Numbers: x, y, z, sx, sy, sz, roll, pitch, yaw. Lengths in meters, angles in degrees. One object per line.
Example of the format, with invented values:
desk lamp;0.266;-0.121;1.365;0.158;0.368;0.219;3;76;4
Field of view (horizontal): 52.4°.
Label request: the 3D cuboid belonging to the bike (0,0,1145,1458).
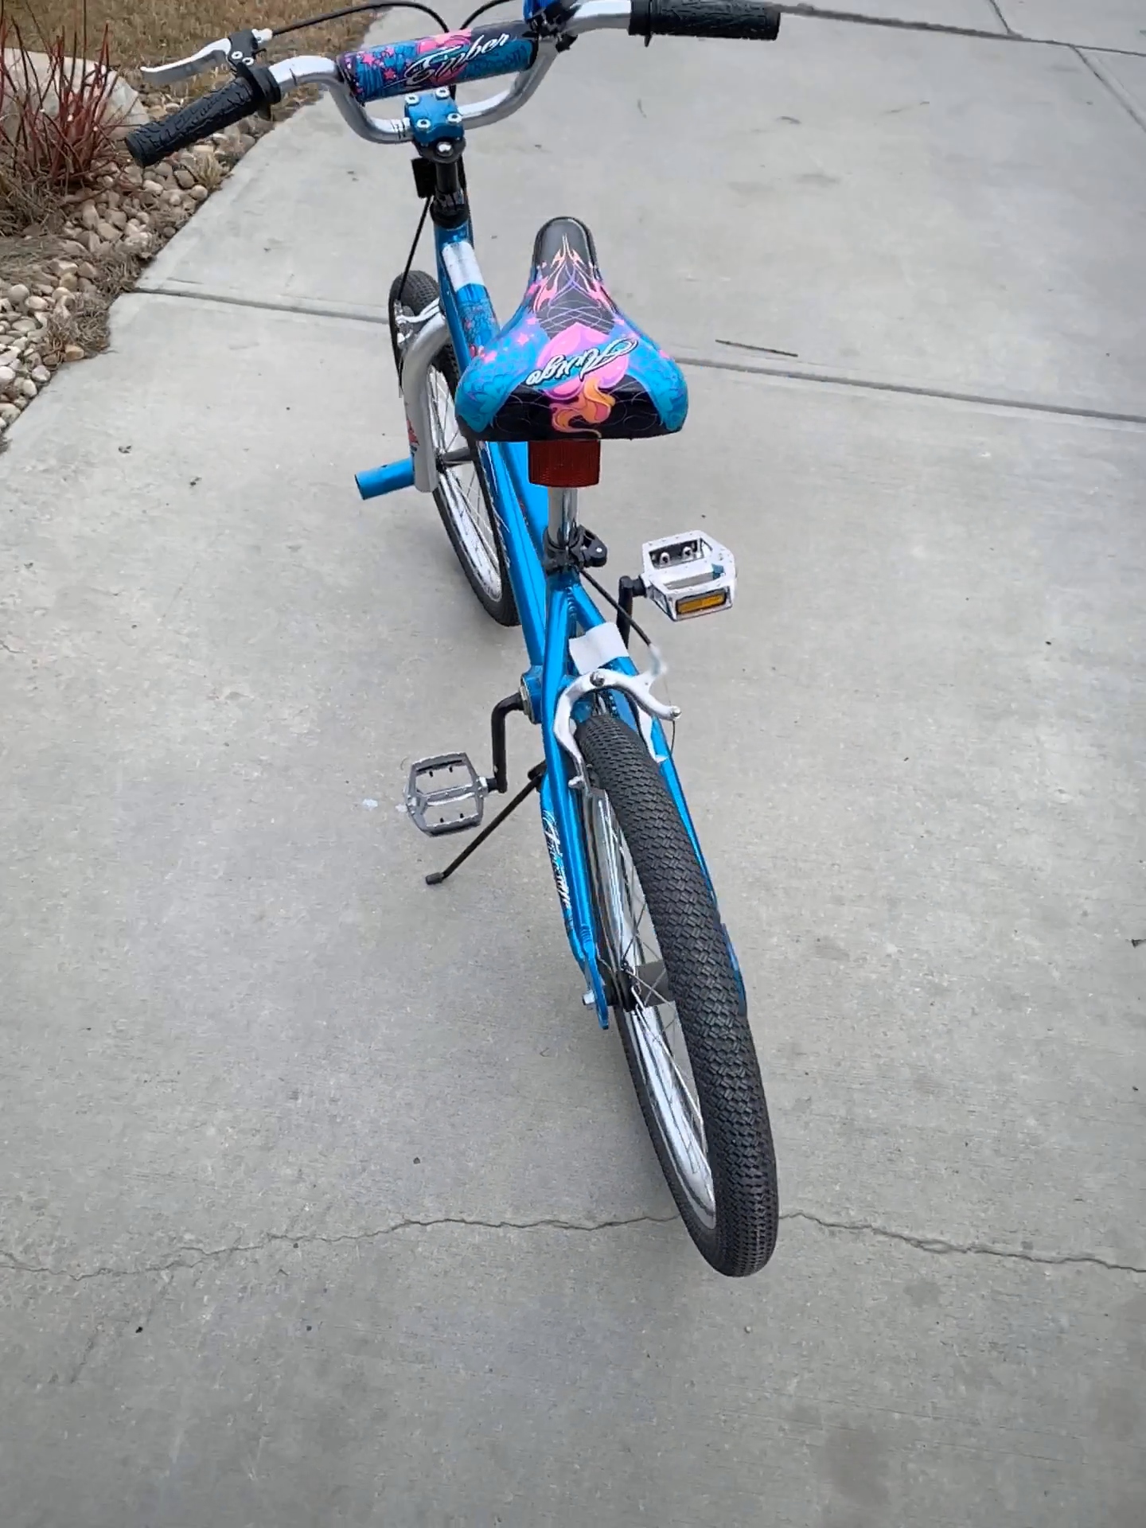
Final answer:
bike;-0.140;-0.230;1.194;0.681;0.837;1.391;-9;50;-15
